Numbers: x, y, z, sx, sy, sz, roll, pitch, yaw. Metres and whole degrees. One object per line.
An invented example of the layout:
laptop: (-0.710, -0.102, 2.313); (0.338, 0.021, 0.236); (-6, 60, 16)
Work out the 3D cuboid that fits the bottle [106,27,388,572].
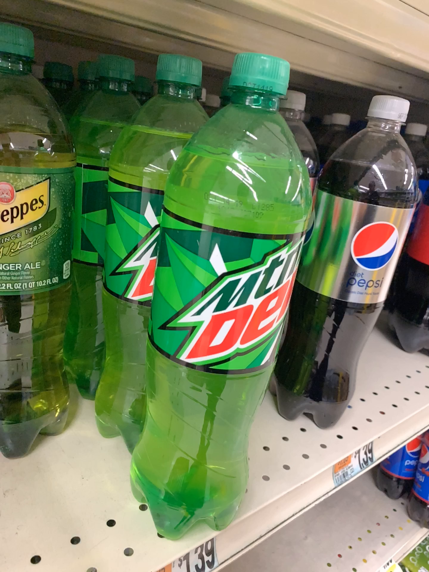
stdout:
bottle: (0.003, 0.019, 0.284); (0.100, 0.302, 0.090); (-7, 25, -35)
